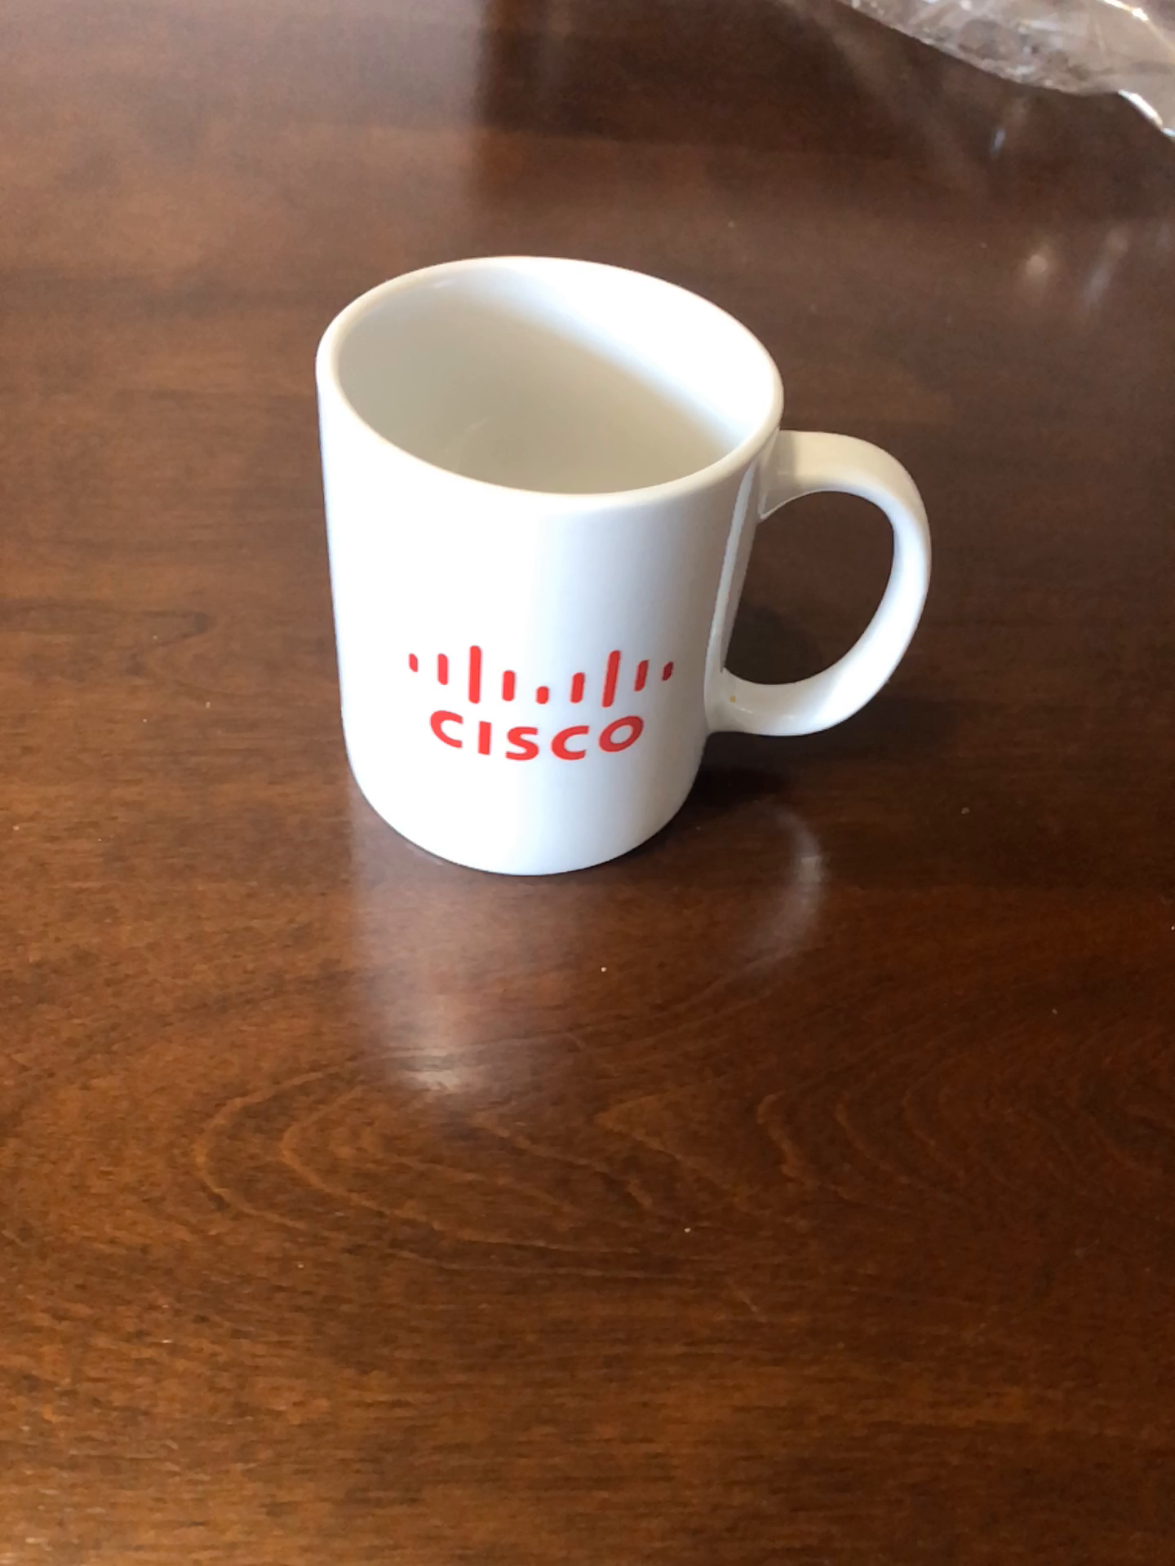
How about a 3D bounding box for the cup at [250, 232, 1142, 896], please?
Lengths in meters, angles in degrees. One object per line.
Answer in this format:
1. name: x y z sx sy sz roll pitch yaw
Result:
1. cup: 0.012 -0.039 0.249 0.130 0.090 0.080 1 47 -6
